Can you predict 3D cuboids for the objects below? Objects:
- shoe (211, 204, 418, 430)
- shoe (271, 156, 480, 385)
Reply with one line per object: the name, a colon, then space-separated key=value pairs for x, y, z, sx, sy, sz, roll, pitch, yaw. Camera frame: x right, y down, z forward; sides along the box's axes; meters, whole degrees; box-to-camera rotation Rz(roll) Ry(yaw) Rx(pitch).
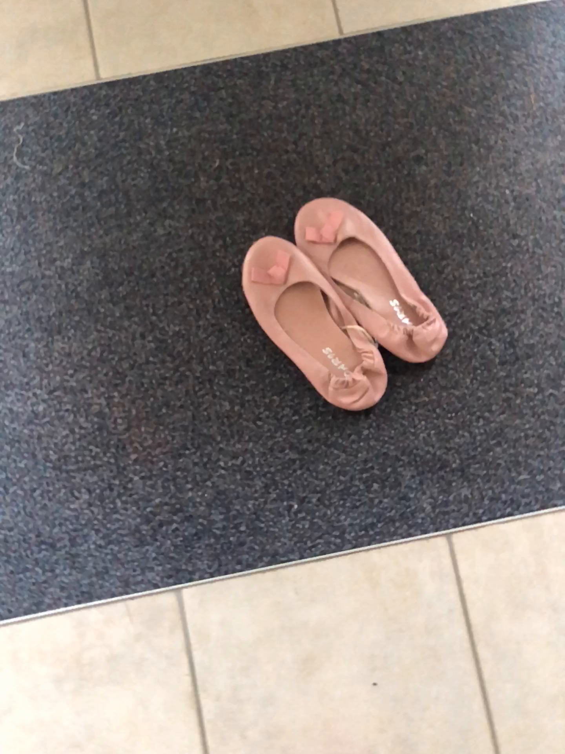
shoe: x=0.033 y=-0.061 z=0.700 sx=0.090 sy=0.100 sz=0.230 roll=-39 pitch=83 yaw=-4
shoe: x=0.096 y=-0.114 z=0.700 sx=0.090 sy=0.100 sz=0.230 roll=-39 pitch=83 yaw=-4
